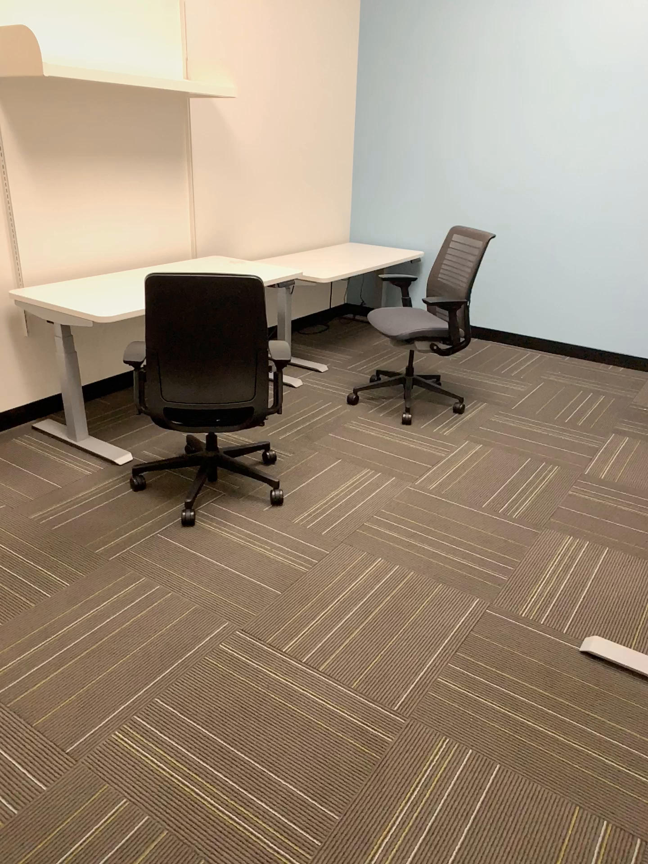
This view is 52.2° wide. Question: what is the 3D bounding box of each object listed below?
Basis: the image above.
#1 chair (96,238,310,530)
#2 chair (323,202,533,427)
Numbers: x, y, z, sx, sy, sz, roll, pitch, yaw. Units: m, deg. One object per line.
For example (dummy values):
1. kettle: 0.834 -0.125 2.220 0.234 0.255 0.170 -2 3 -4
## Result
1. chair: -0.473 -0.240 2.662 0.680 0.935 0.774 -3 24 -11
2. chair: 0.488 -0.682 3.603 0.770 0.995 0.895 -3 24 -13
